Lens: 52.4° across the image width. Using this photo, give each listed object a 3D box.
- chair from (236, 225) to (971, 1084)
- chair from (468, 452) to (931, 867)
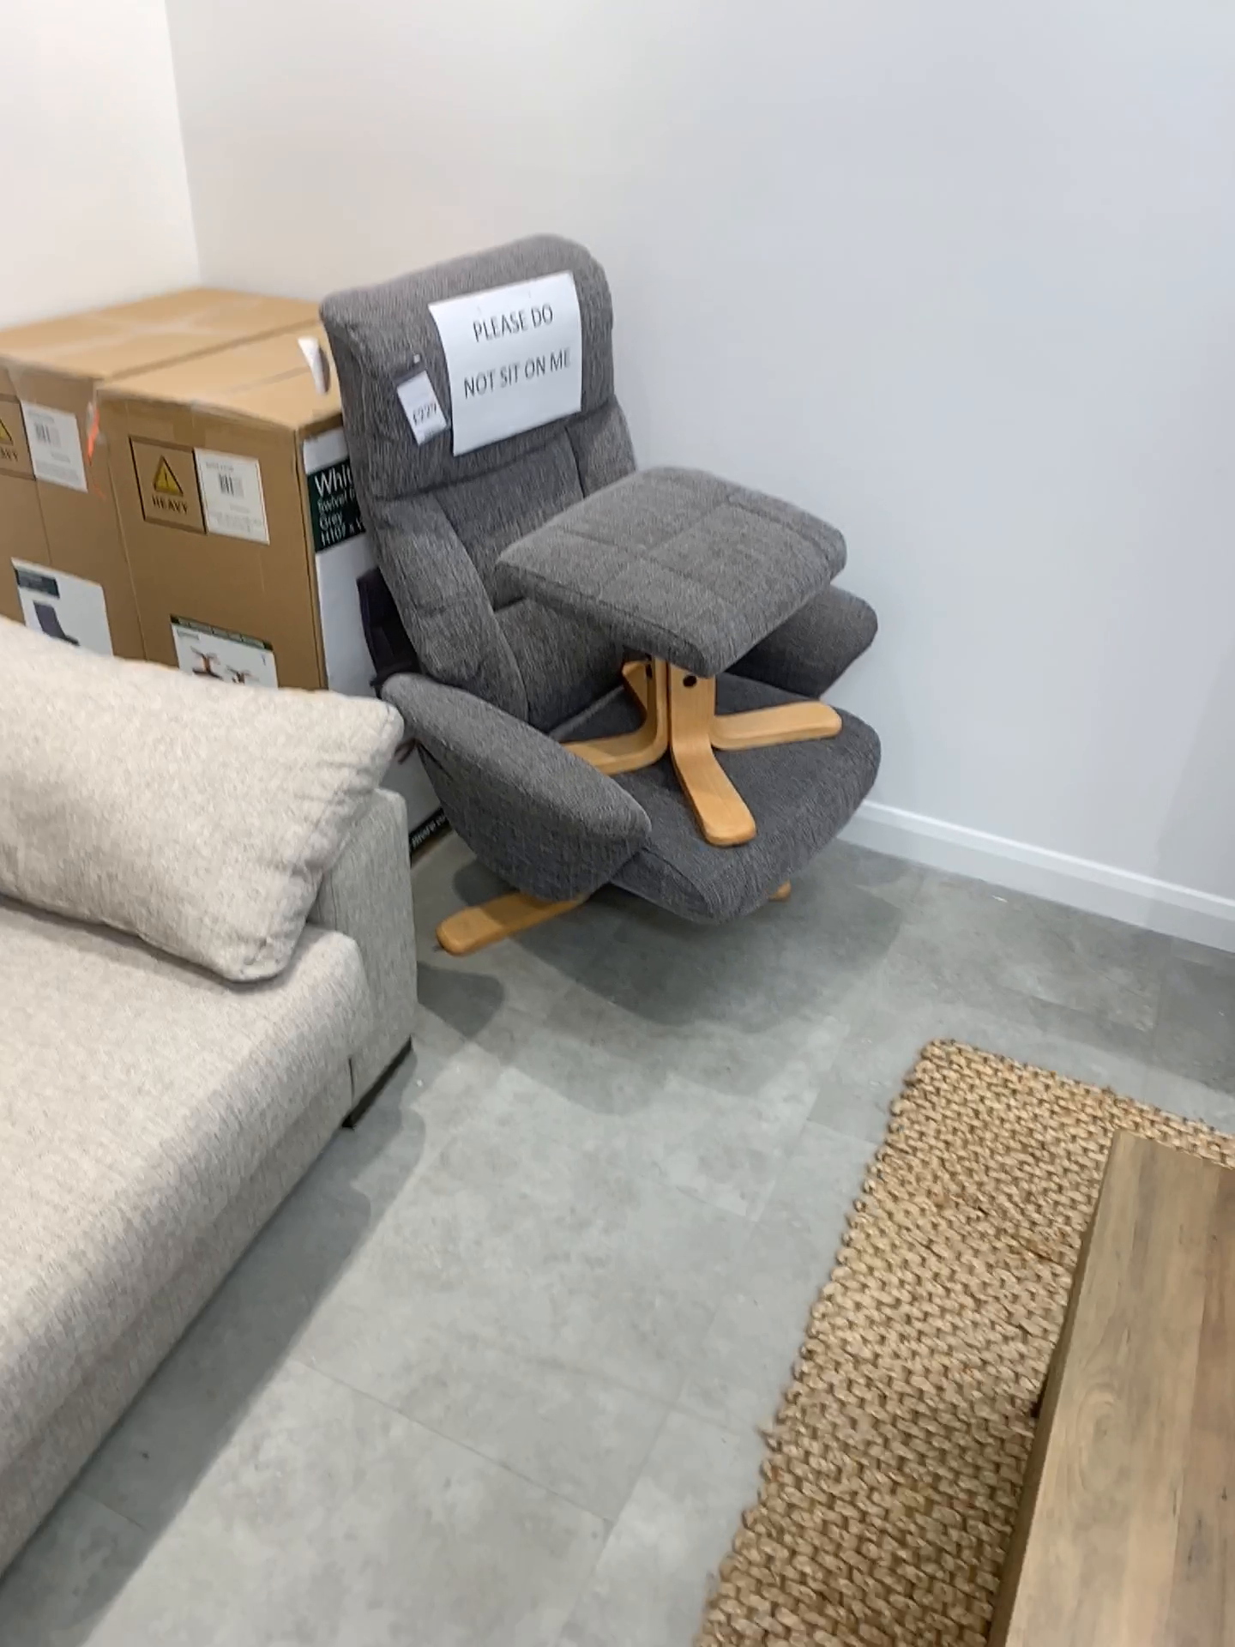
[{"bbox_3d":[-0.005,-0.311,1.935,0.721,0.975,0.707,20,36,25],"label":"chair"},{"bbox_3d":[0.122,-0.274,1.863,0.481,0.351,0.485,20,37,26],"label":"chair"}]
